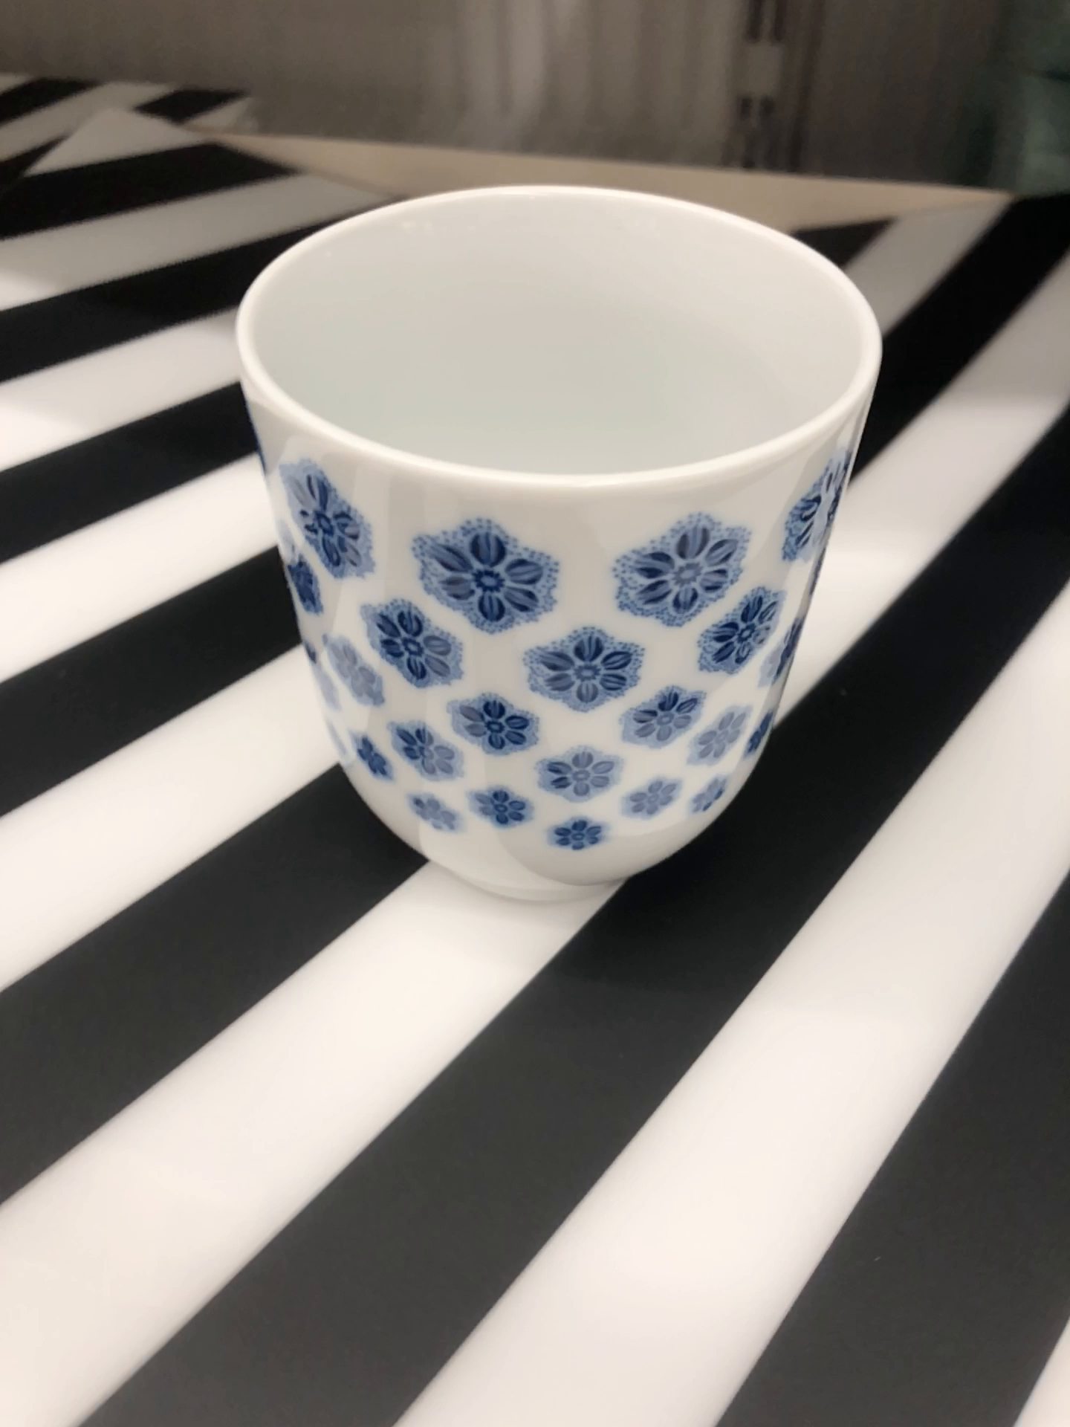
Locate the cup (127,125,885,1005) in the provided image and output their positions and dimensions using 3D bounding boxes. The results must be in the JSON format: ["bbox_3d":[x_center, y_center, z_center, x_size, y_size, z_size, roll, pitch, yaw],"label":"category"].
[{"bbox_3d":[0.003,-0.022,0.166,0.070,0.080,0.080,8,44,7],"label":"cup"}]
